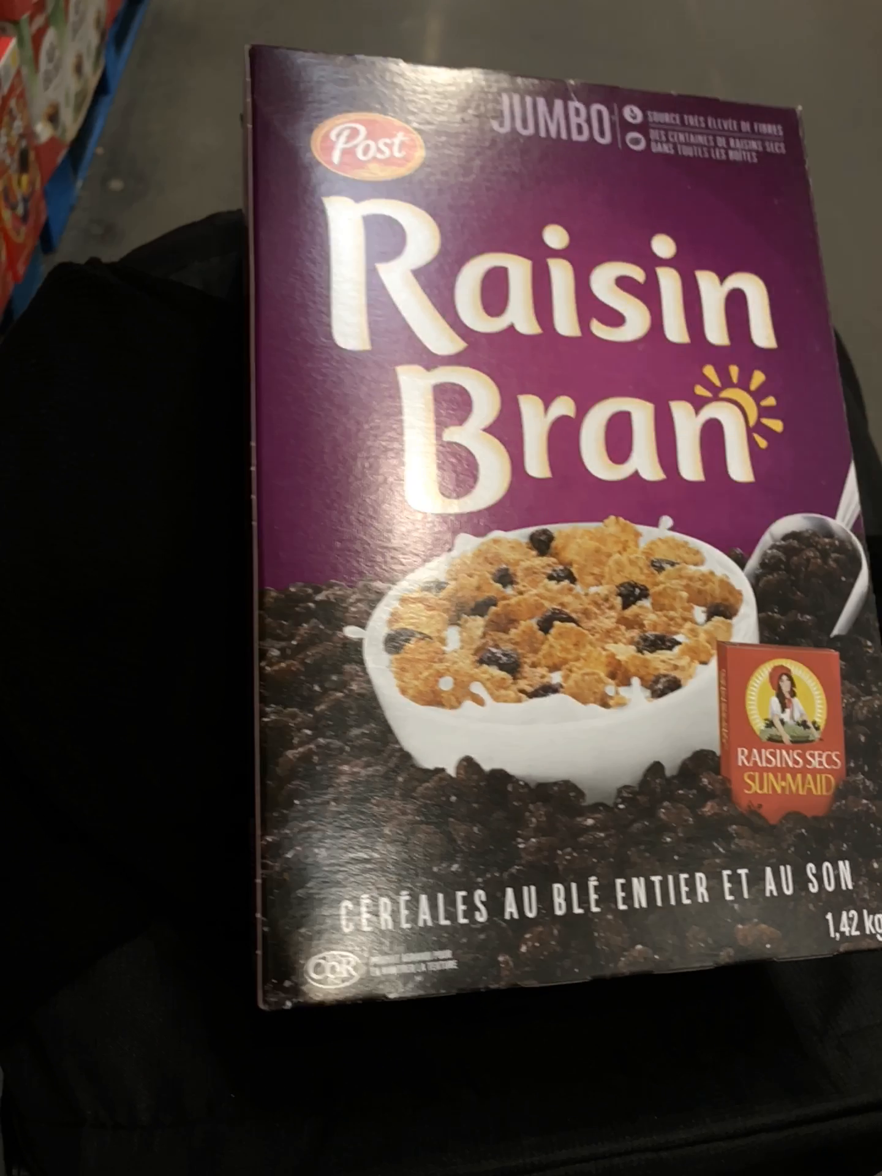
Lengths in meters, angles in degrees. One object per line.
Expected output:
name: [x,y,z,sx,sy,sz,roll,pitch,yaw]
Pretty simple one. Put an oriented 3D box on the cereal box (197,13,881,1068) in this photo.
cereal box: [0.028,-0.018,0.336,0.210,0.110,0.290,0,78,-11]
